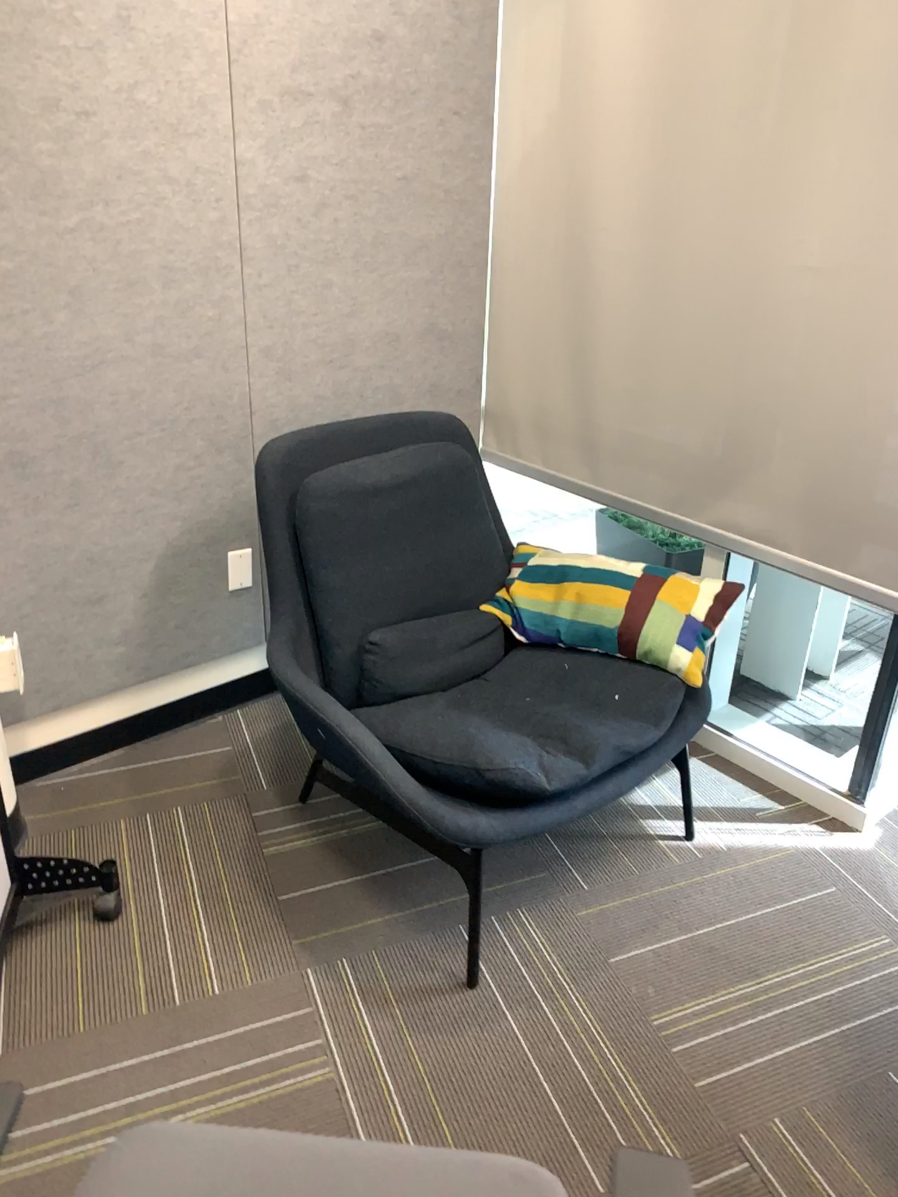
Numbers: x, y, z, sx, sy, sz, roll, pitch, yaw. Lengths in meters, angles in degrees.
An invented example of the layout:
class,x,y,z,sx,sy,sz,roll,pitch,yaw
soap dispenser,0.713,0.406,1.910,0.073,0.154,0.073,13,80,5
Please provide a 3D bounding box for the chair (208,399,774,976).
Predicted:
class,x,y,z,sx,sy,sz,roll,pitch,yaw
chair,0.027,0.082,2.153,0.791,0.816,1.004,-15,30,-31
